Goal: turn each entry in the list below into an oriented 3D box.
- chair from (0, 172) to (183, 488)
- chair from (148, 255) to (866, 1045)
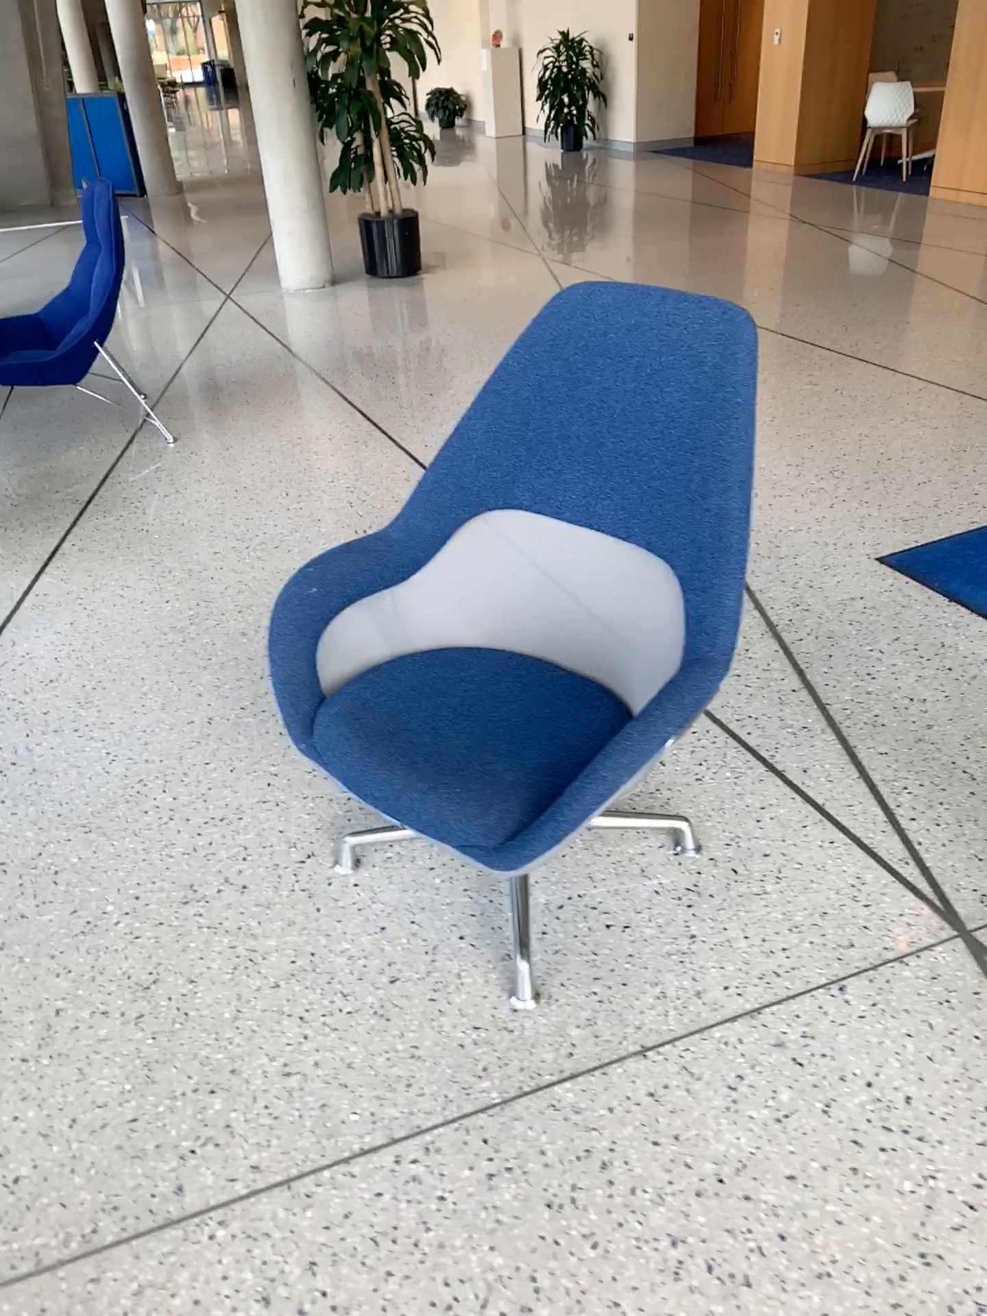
[{"bbox_3d":[-1.753,-1.314,3.915,0.775,0.913,0.900,-14,32,-17],"label":"chair"},{"bbox_3d":[0.052,-0.101,1.729,0.727,0.933,0.788,24,41,38],"label":"chair"}]
